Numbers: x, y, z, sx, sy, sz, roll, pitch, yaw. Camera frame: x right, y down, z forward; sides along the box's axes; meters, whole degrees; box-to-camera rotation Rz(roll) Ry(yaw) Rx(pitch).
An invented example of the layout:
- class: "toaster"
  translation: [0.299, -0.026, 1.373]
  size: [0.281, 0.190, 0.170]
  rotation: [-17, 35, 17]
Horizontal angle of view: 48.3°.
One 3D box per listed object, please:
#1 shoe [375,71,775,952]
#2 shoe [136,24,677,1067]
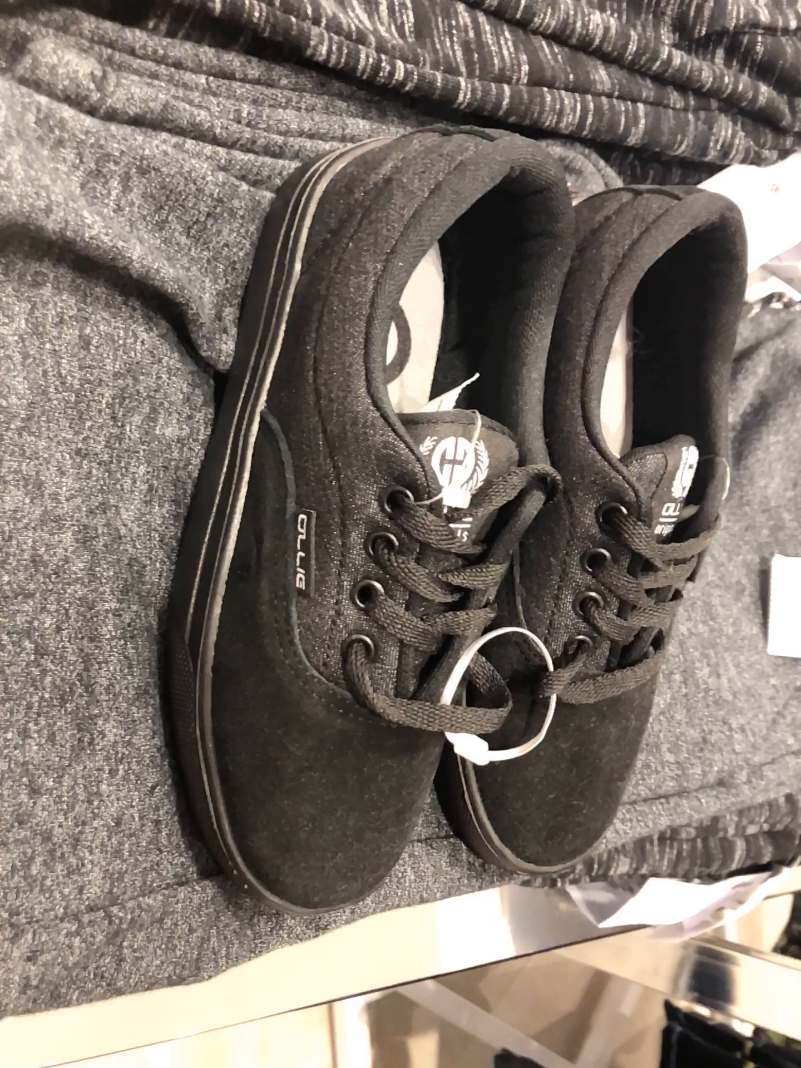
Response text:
- class: "shoe"
  translation: [0.059, -0.005, 0.301]
  size: [0.091, 0.080, 0.240]
  rotation: [5, 87, -37]
- class: "shoe"
  translation: [0.003, 0.006, 0.240]
  size: [0.090, 0.080, 0.220]
  rotation: [10, 84, -36]
